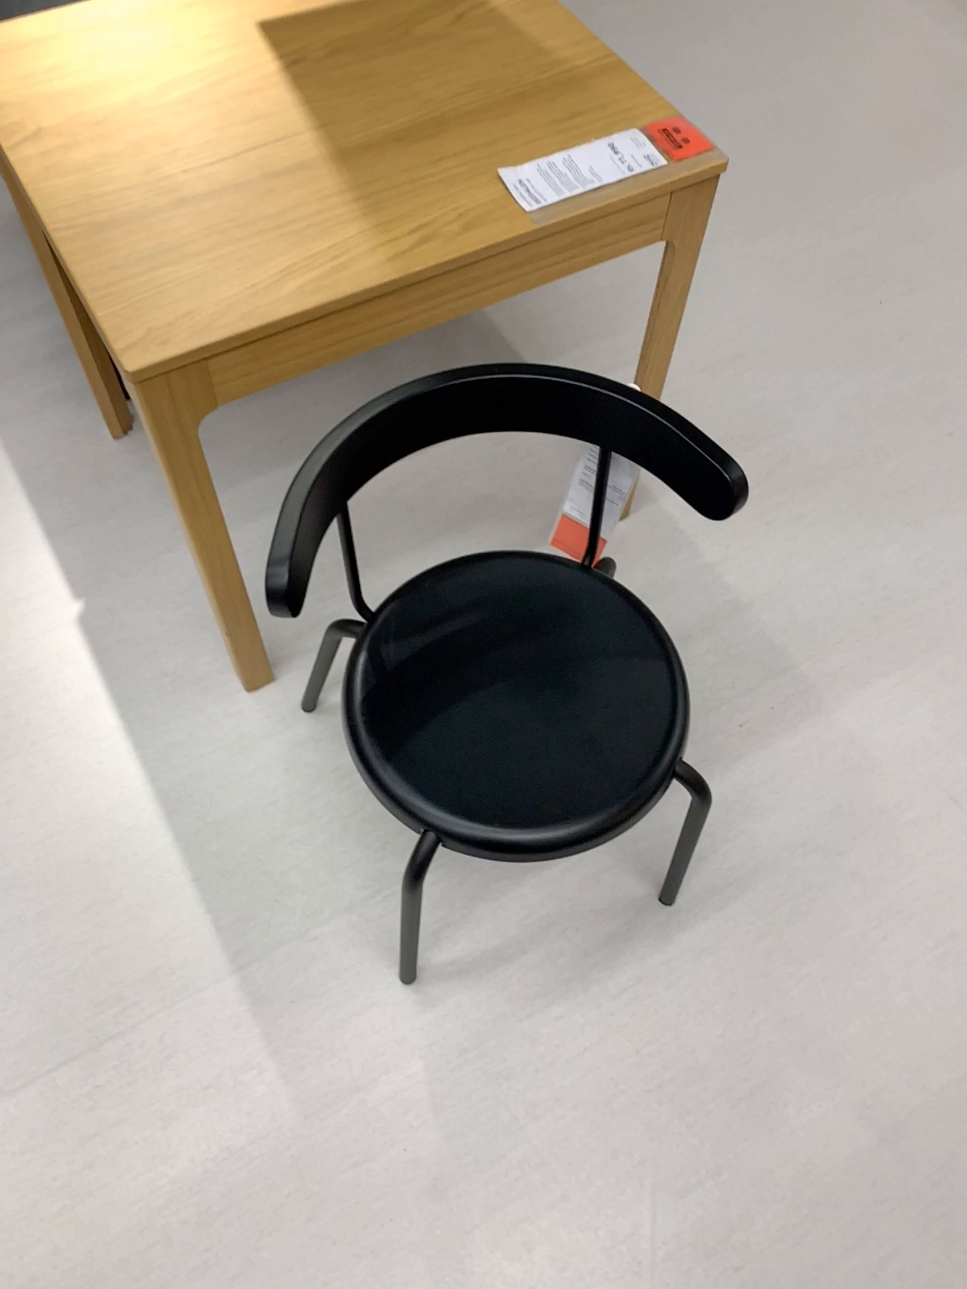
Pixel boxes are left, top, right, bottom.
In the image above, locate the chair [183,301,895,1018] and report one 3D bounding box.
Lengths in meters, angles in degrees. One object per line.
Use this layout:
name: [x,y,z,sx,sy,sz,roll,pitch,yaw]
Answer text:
chair: [0.013,0.042,1.296,0.590,0.599,0.611,-13,61,-10]
